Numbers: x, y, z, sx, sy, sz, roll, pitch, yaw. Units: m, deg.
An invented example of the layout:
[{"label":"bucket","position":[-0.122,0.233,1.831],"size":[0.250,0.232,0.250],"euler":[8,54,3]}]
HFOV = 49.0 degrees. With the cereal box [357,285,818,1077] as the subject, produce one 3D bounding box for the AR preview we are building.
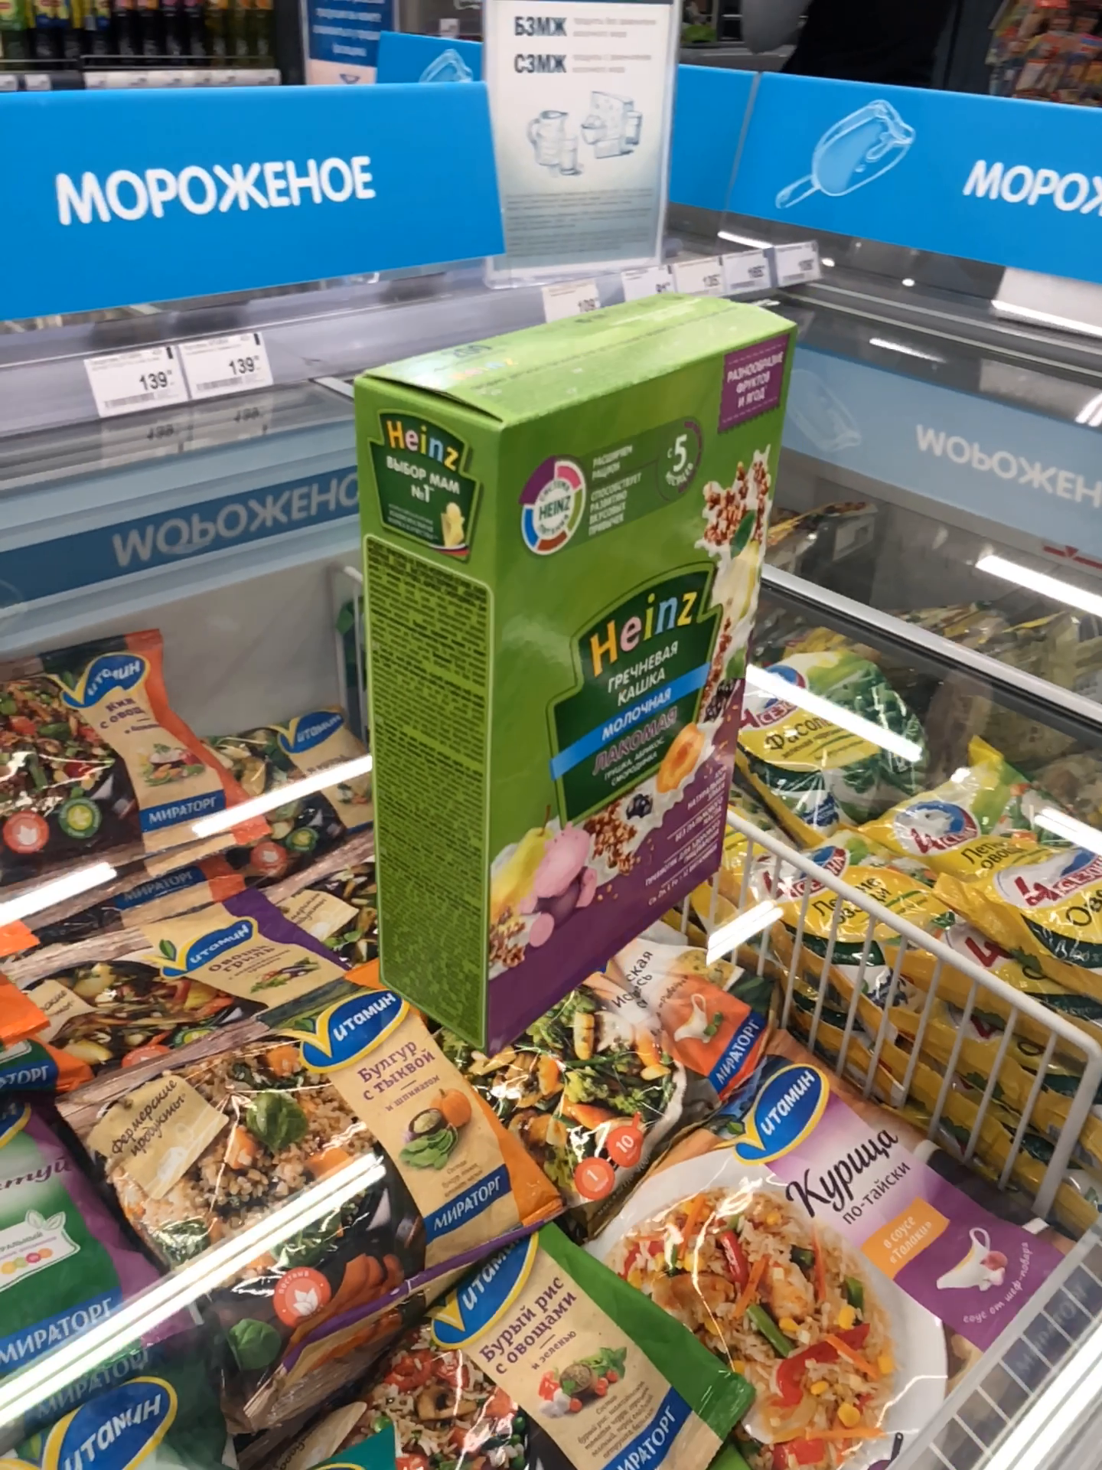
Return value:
[{"label":"cereal box","position":[0.011,-0.018,0.363],"size":[0.050,0.199,0.131],"euler":[24,38,31]}]
